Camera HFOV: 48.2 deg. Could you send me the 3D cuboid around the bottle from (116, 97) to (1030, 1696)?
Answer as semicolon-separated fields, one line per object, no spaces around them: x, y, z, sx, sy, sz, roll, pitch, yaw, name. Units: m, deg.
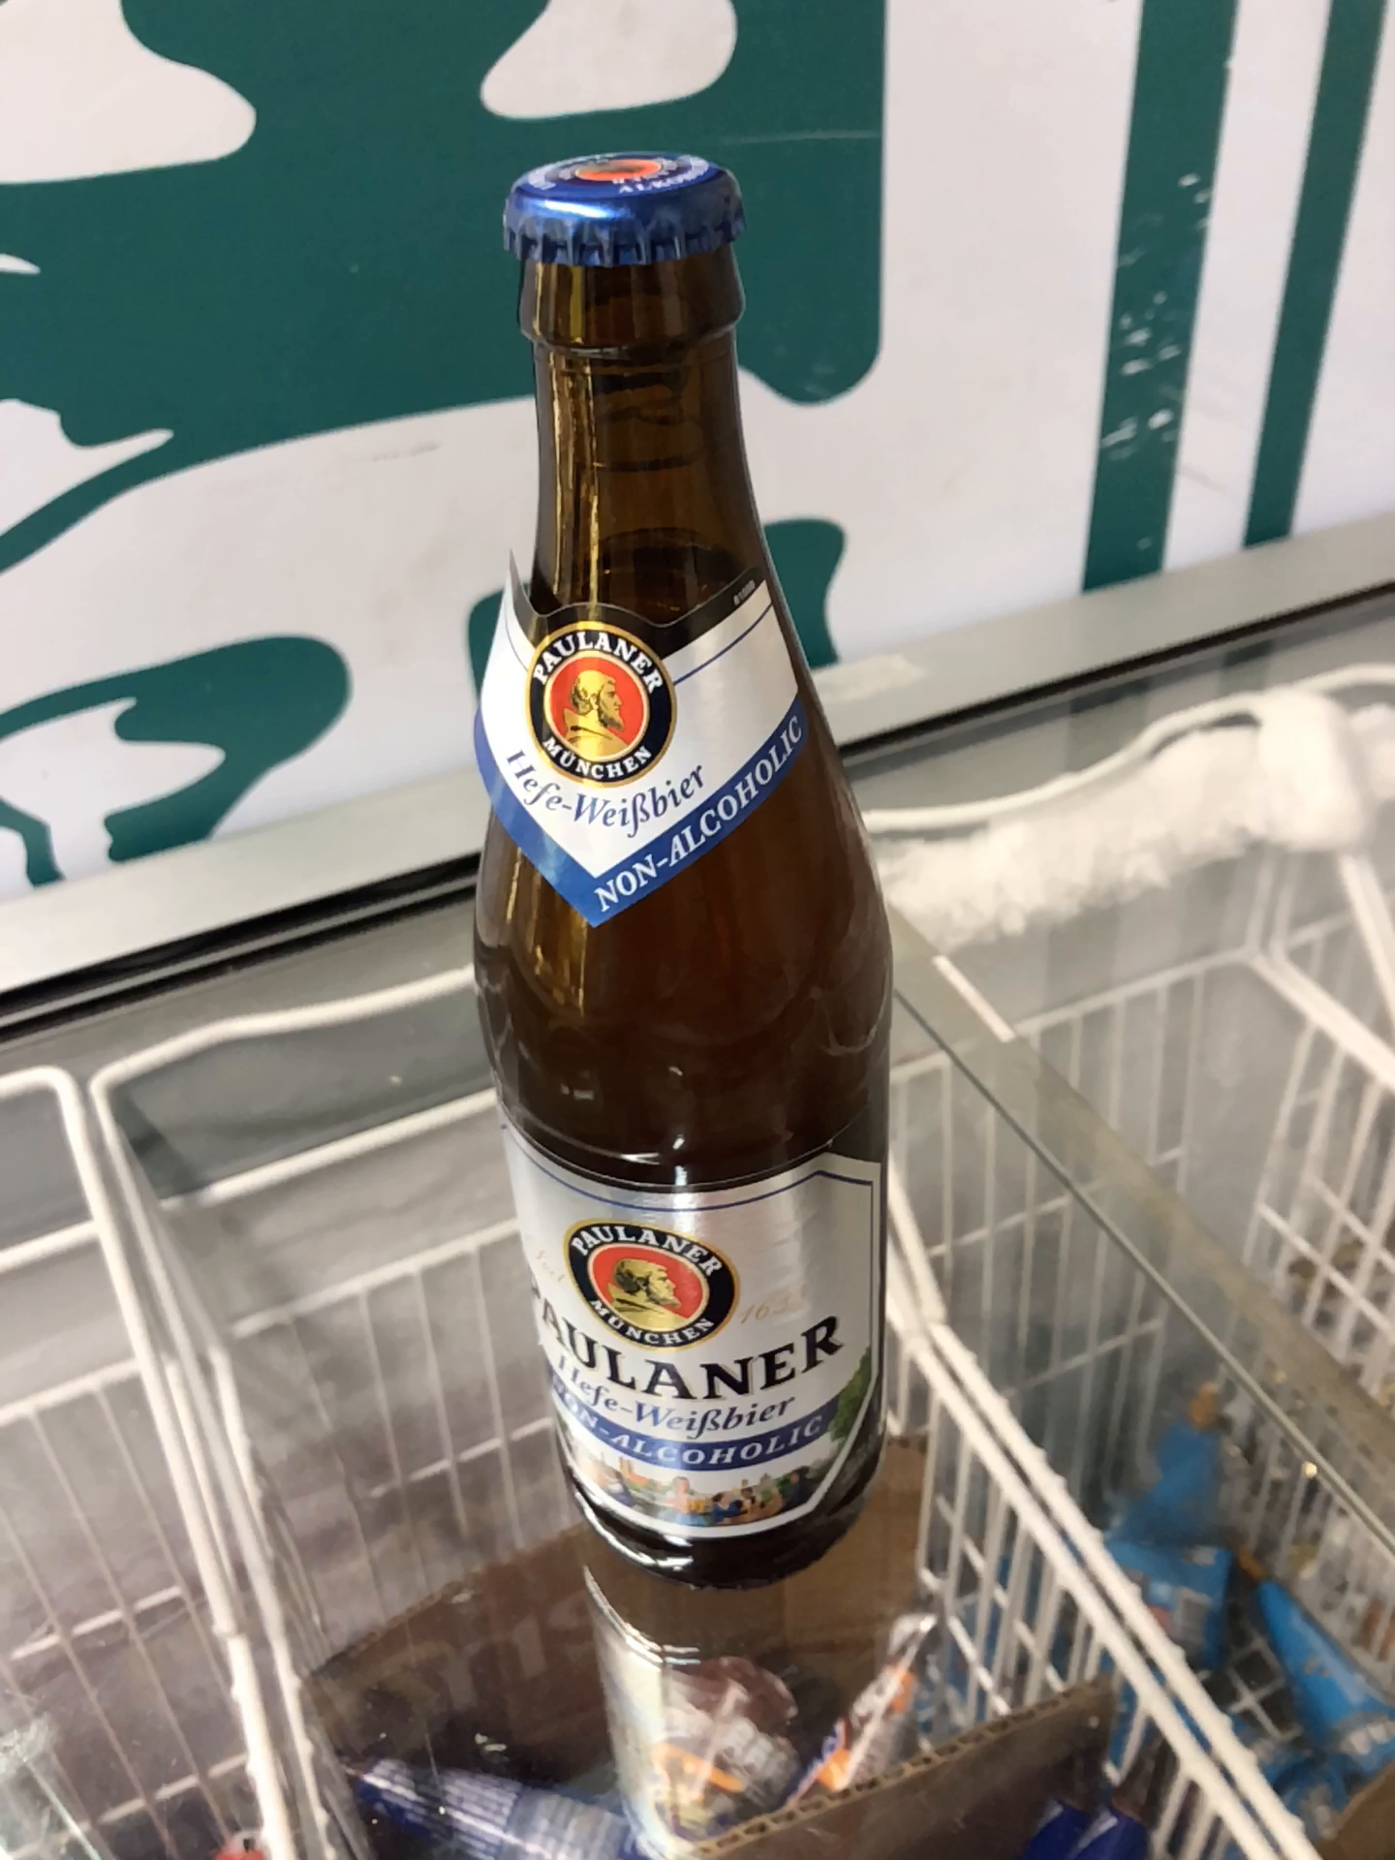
-0.003;0.013;0.248;0.080;0.248;0.070;10;39;18;bottle
